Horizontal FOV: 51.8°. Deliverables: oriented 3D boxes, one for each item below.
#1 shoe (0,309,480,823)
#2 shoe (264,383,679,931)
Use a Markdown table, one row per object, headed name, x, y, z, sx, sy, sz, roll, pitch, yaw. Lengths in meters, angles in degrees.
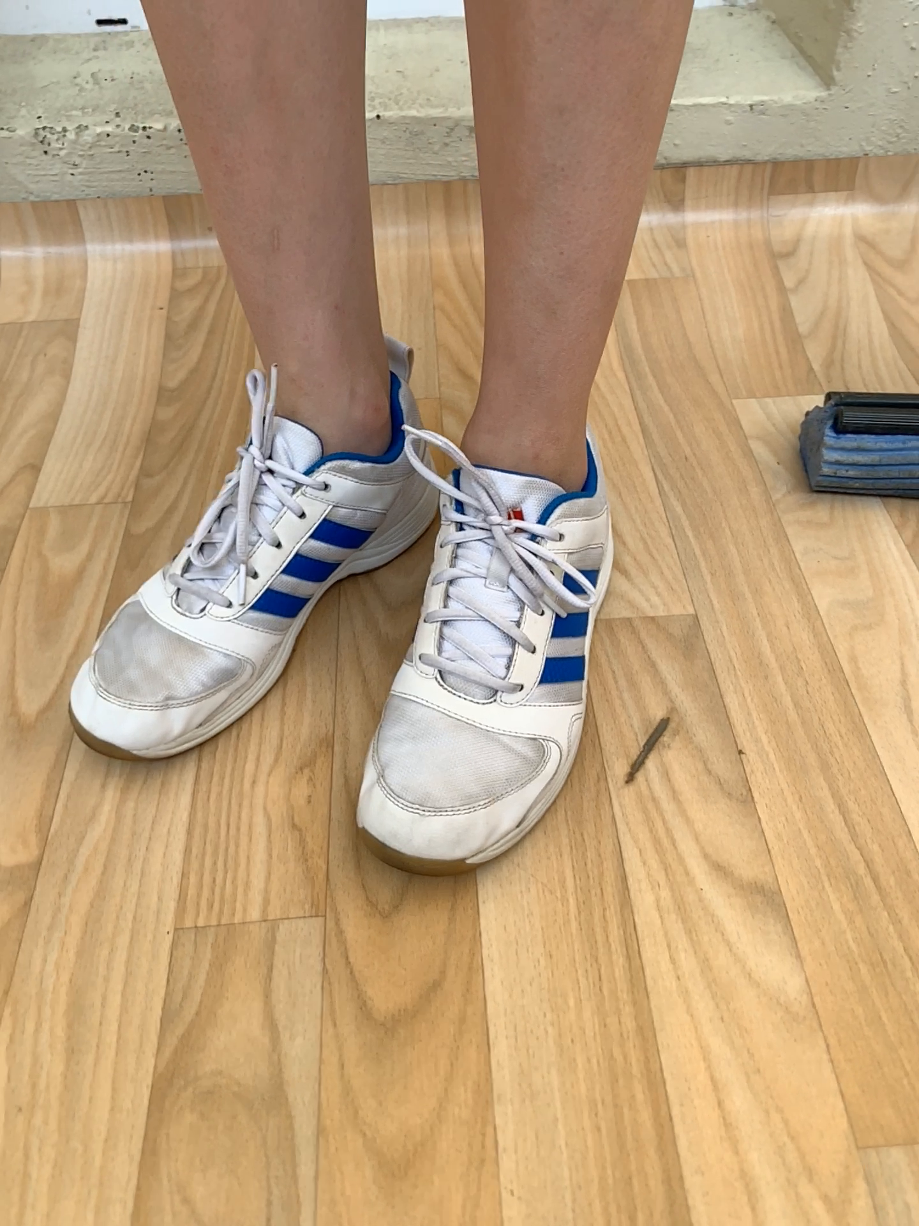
| name | x | y | z | sx | sy | sz | roll | pitch | yaw |
| --- | --- | --- | --- | --- | --- | --- | --- | --- | --- |
| shoe | -0.109 | -0.038 | 0.500 | 0.100 | 0.120 | 0.260 | 30 | 54 | 26 |
| shoe | 0.021 | 0.003 | 0.468 | 0.100 | 0.090 | 0.261 | 17 | 49 | 16 |
